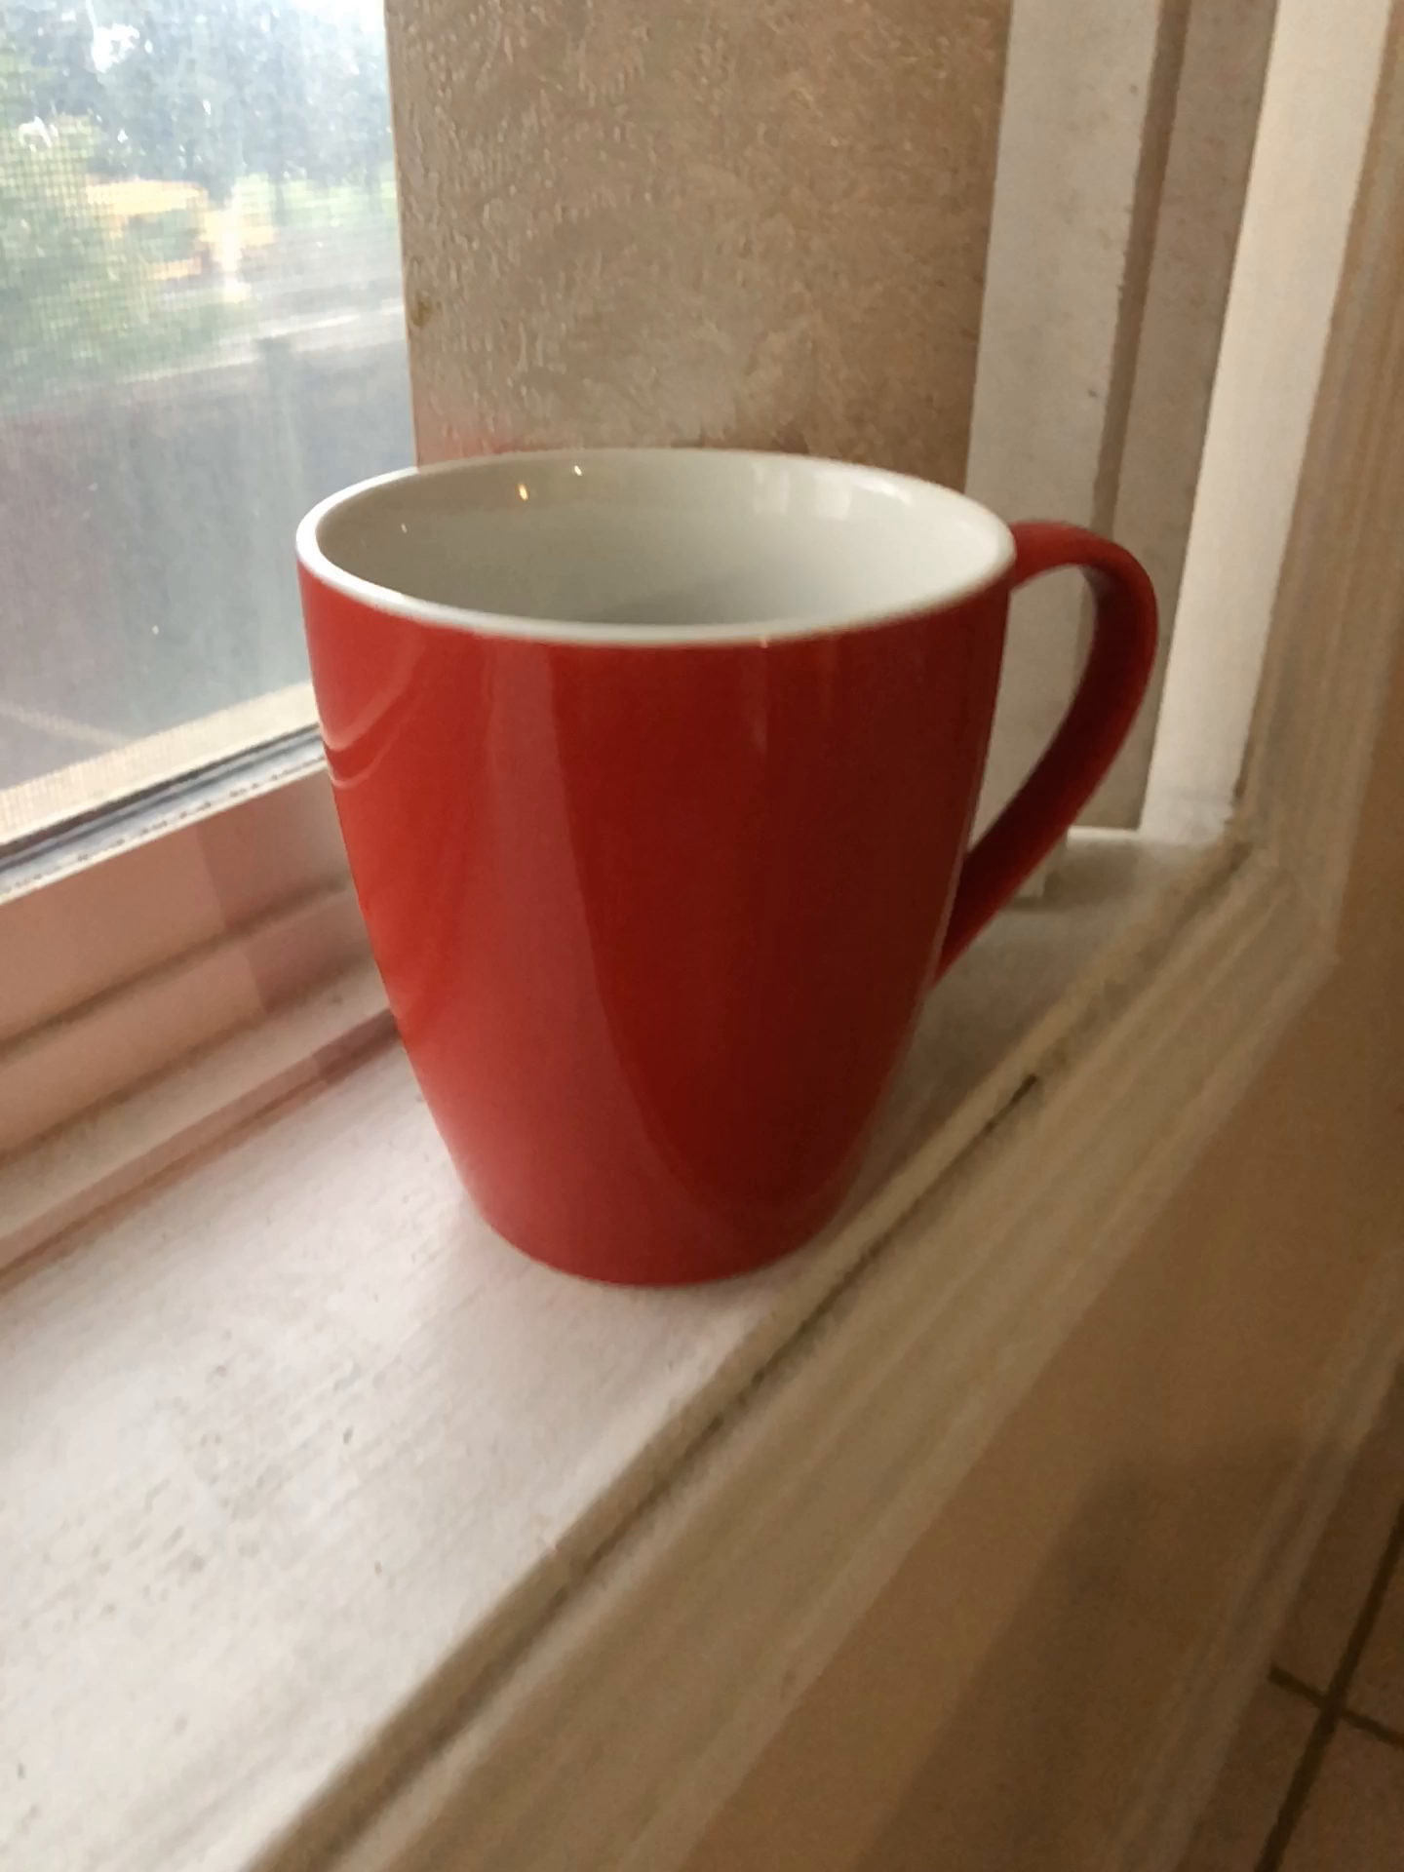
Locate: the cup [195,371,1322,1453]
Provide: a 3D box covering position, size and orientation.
[{"bbox_3d":[0.010,-0.016,0.207,0.080,0.090,0.110,25,37,37],"label":"cup"}]
